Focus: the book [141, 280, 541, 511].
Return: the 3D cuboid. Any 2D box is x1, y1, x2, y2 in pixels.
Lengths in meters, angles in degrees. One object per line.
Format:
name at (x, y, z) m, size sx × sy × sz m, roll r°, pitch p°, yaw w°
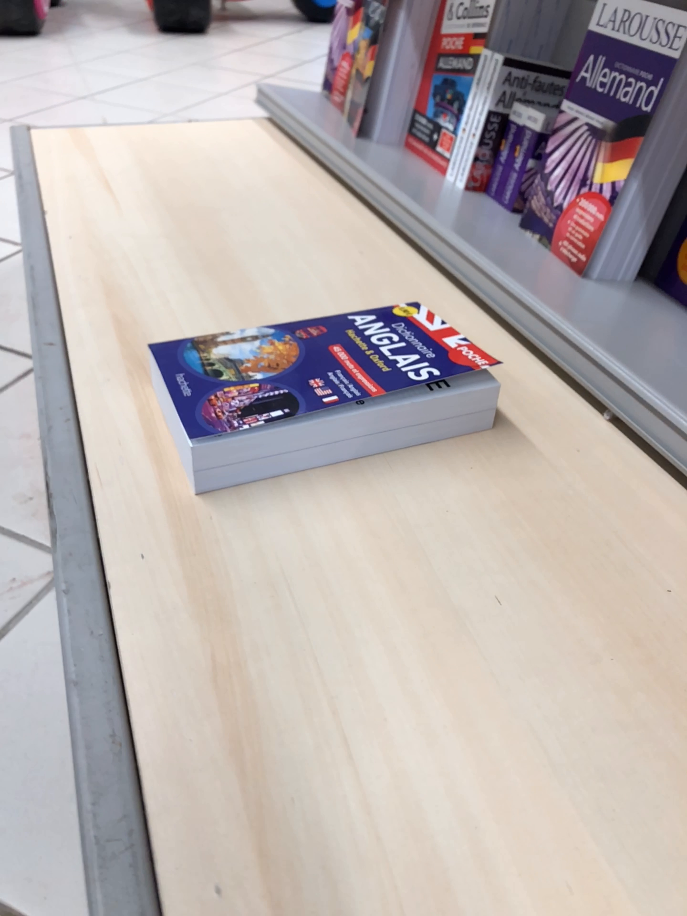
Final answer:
book at (-0.005, -0.044, 0.427) m, size 0.188 × 0.040 × 0.119 m, roll -13°, pitch 41°, yaw -19°
